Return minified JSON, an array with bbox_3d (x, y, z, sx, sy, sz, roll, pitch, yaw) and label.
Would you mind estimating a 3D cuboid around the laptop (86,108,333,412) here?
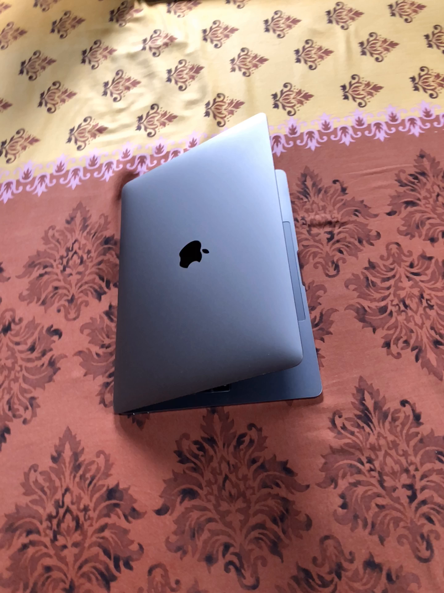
[{"bbox_3d":[-0.018,-0.043,0.505,0.204,0.093,0.286,-6,62,4],"label":"laptop"}]
